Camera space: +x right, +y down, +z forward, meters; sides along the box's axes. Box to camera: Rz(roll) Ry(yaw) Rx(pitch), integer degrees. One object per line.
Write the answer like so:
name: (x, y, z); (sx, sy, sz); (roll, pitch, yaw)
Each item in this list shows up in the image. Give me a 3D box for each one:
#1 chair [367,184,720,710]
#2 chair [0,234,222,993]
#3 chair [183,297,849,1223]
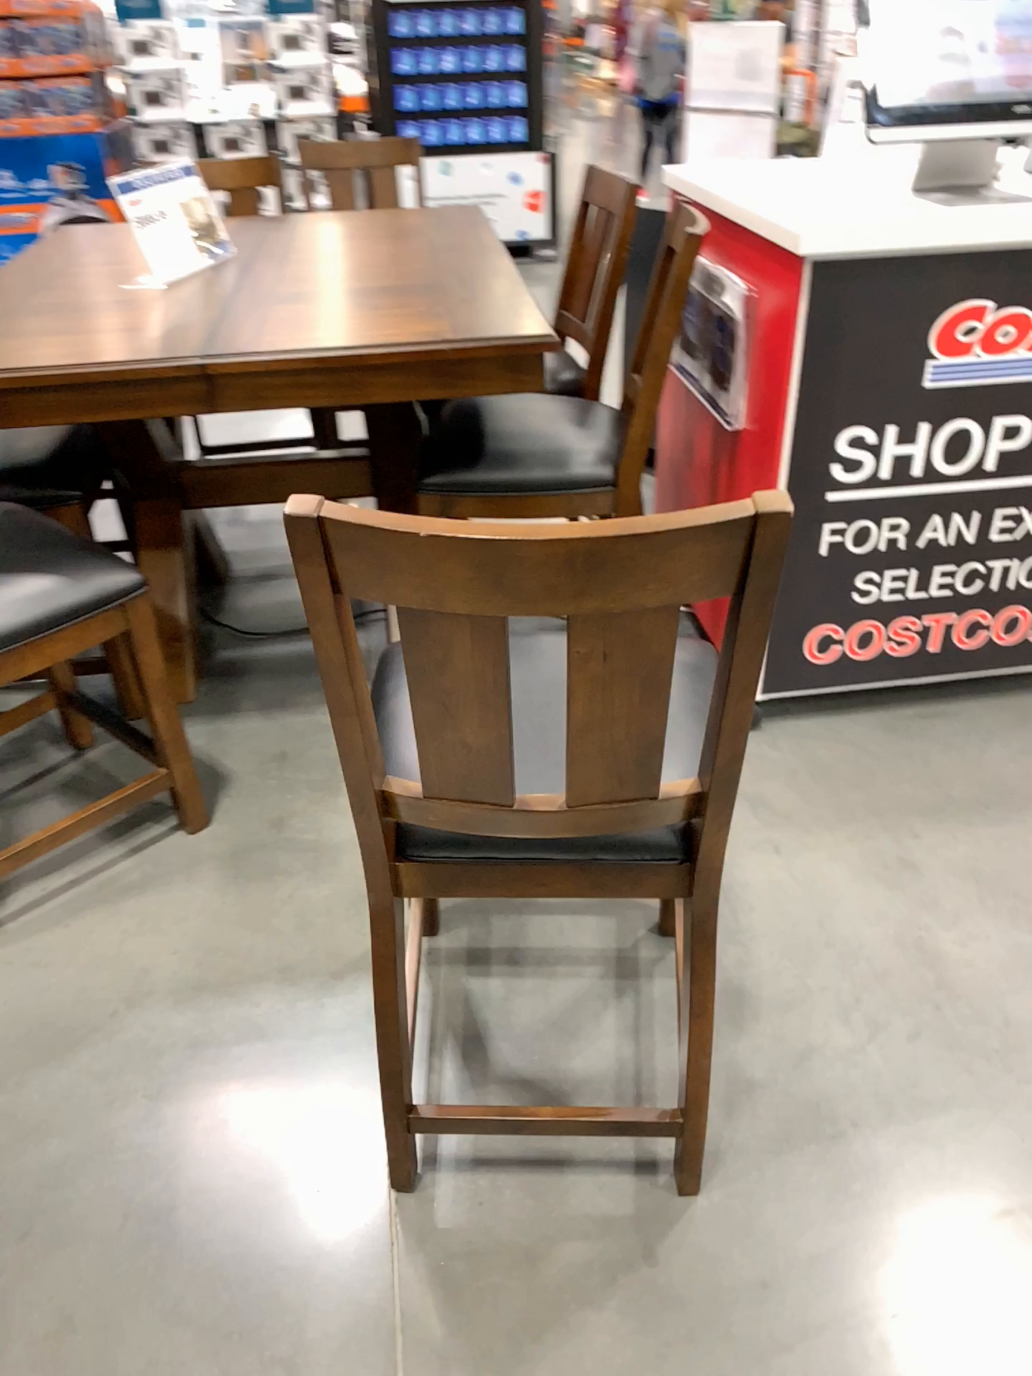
chair: (0.065, -0.531, 2.317); (0.597, 0.952, 0.658); (0, 32, 2)
chair: (-0.991, -0.151, 1.792); (0.546, 1.022, 0.588); (25, 41, 35)
chair: (0.010, 0.105, 1.353); (0.524, 1.022, 0.590); (-1, 32, 1)
